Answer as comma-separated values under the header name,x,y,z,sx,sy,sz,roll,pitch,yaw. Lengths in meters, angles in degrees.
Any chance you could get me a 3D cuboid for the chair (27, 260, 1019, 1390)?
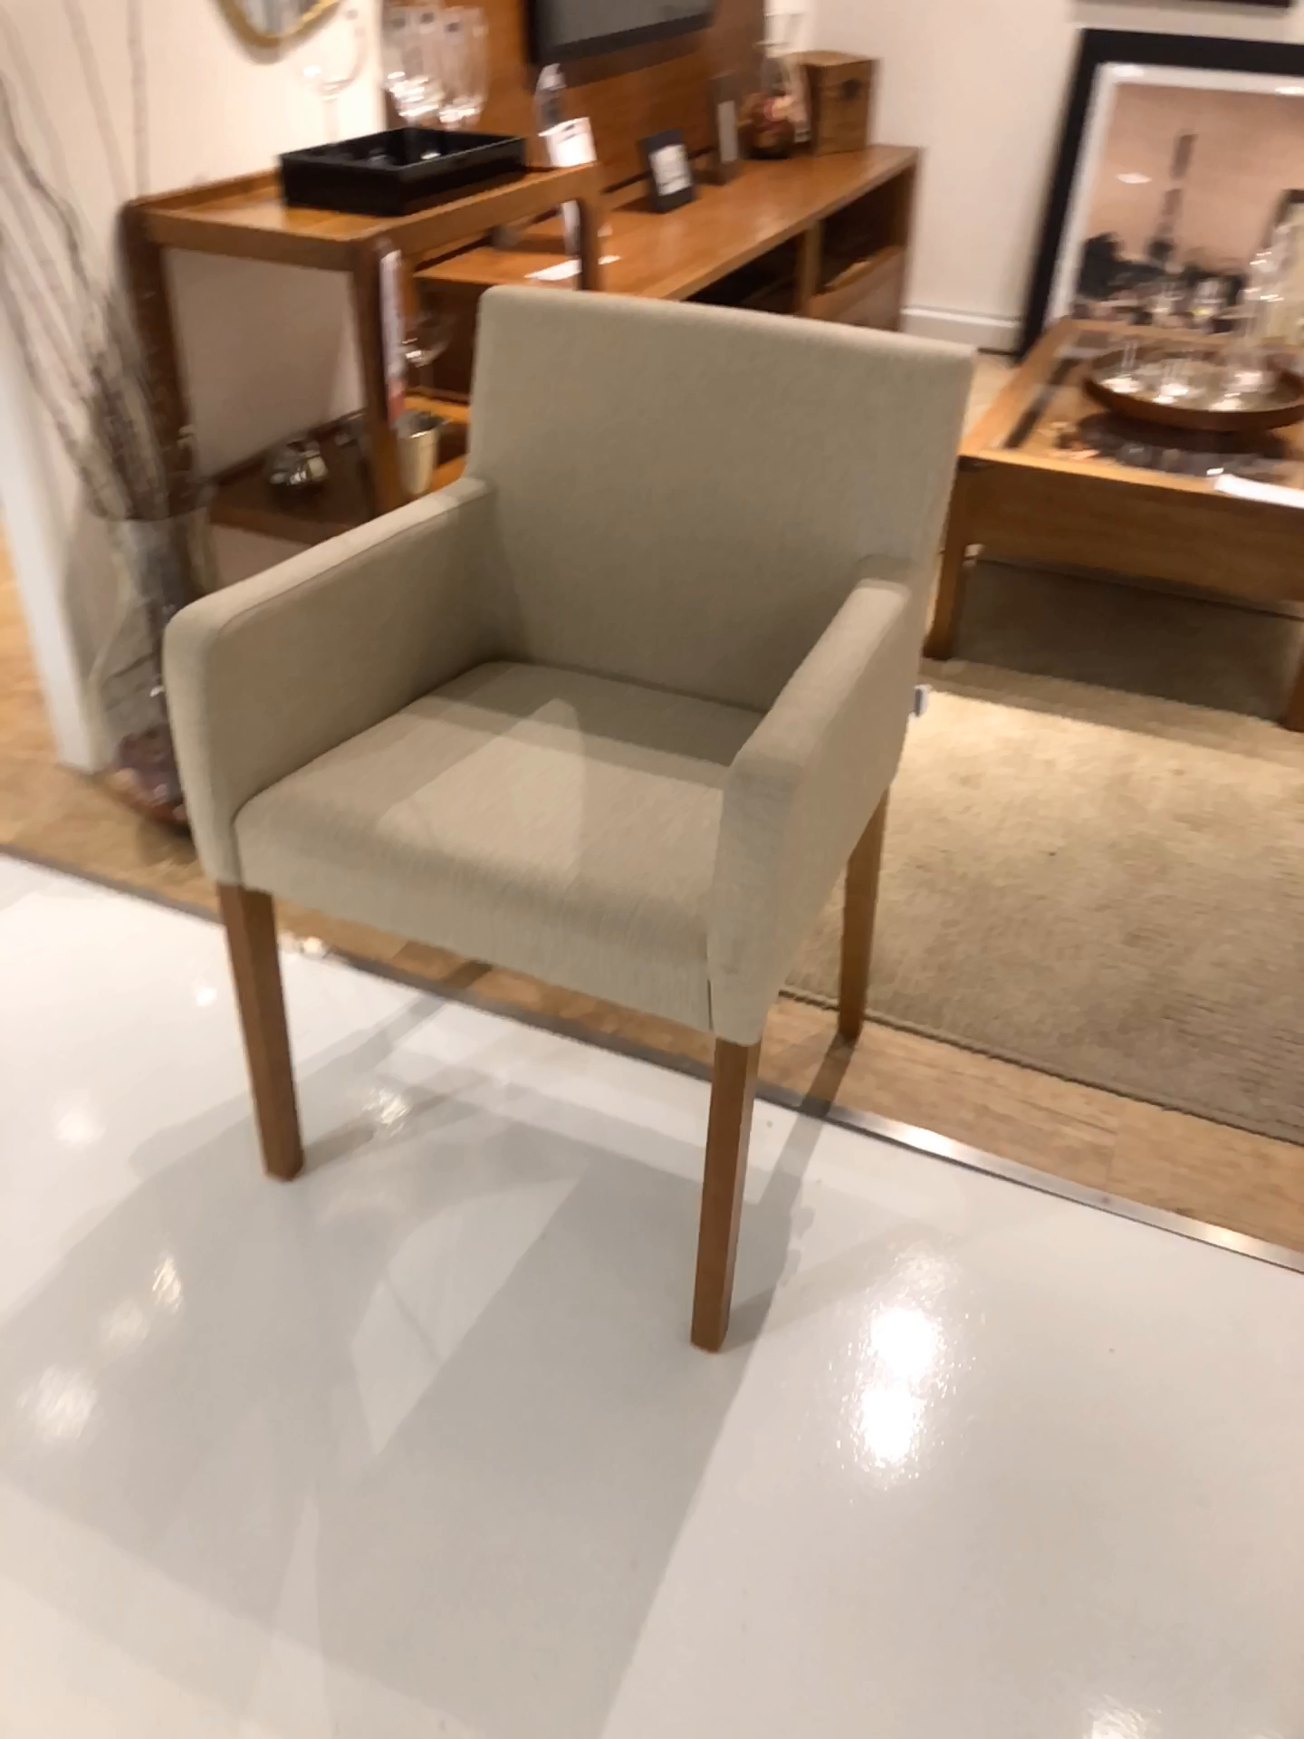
name,x,y,z,sx,sy,sz,roll,pitch,yaw
chair,-0.069,-0.086,1.419,0.601,0.794,0.624,16,37,19
